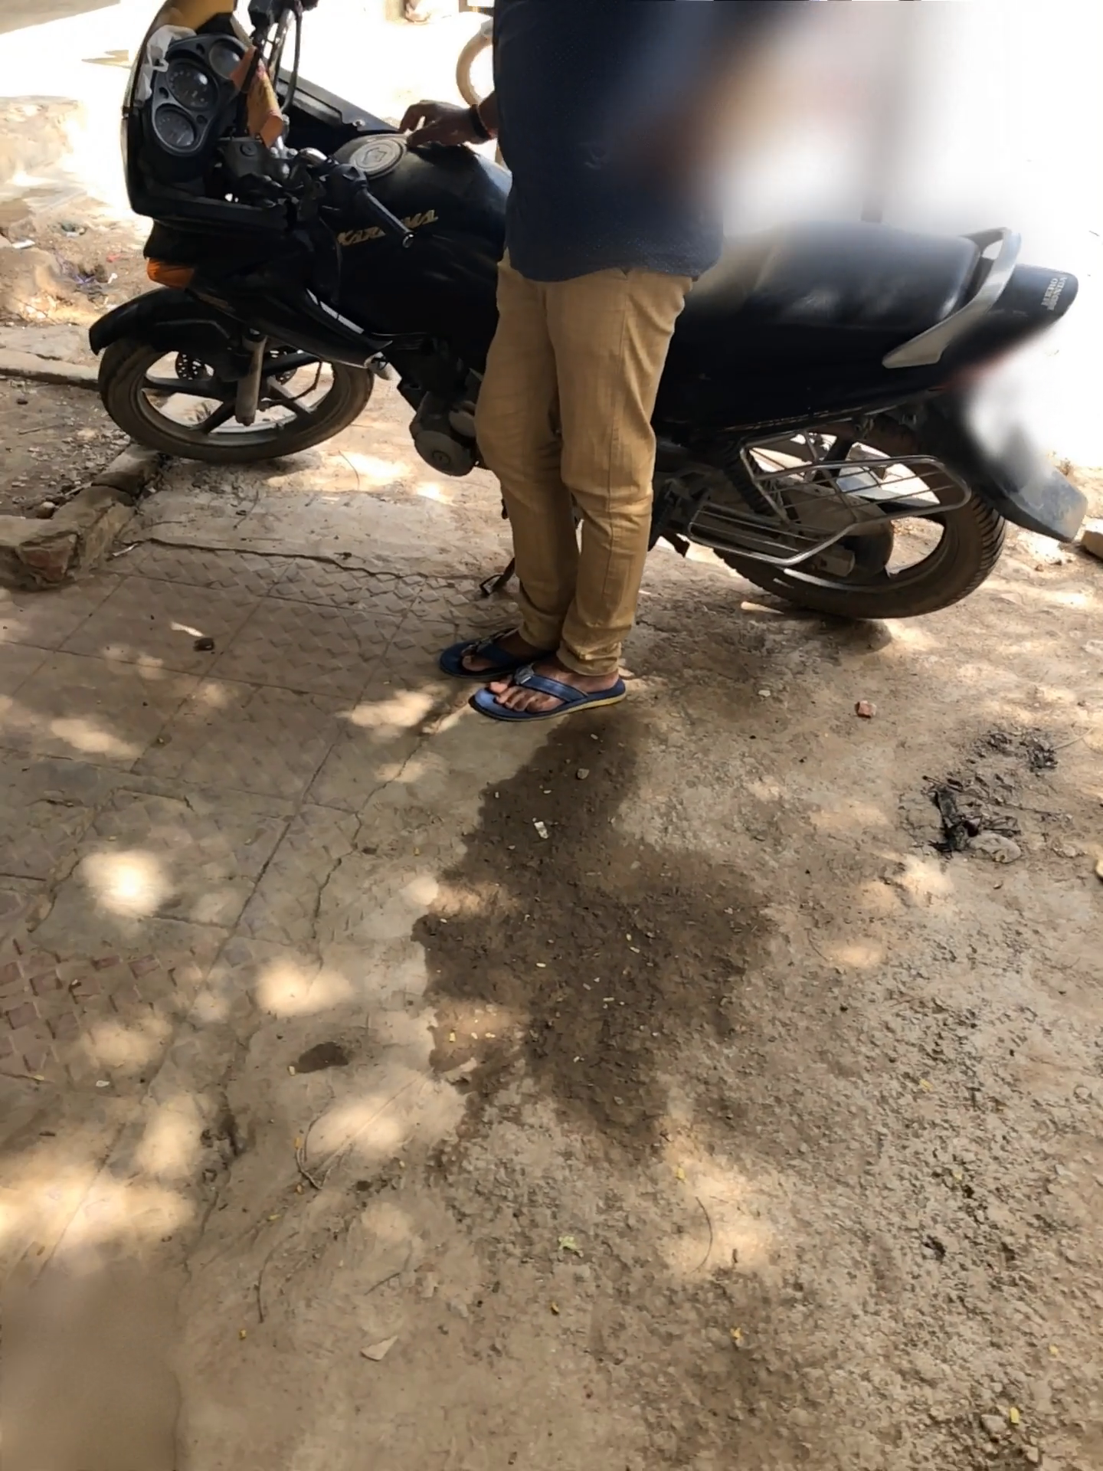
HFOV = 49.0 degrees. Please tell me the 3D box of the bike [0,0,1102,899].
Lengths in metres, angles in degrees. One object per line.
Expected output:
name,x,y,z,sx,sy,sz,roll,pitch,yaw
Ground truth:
bike,-0.208,-0.665,2.012,1.889,1.176,0.802,15,39,13
